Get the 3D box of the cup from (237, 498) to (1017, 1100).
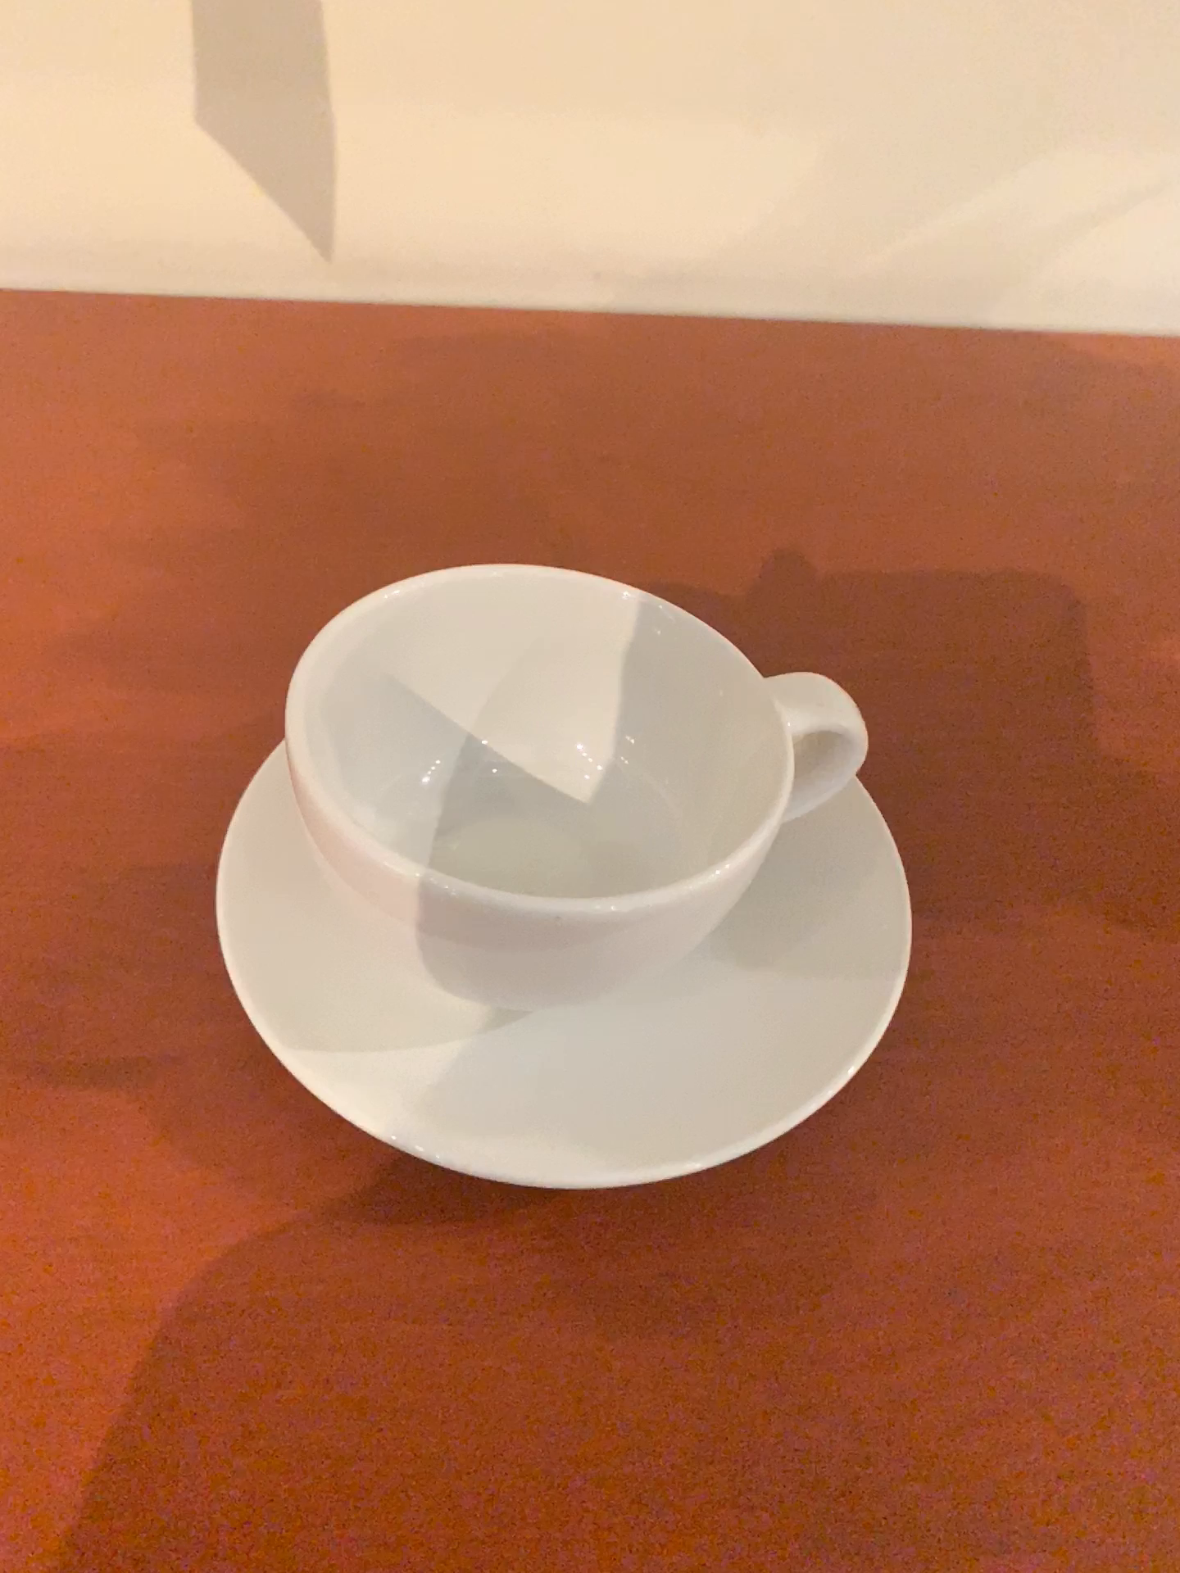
[{"bbox_3d":[0.000,-0.003,0.220,0.110,0.050,0.080,-9,48,-15],"label":"cup"}]
